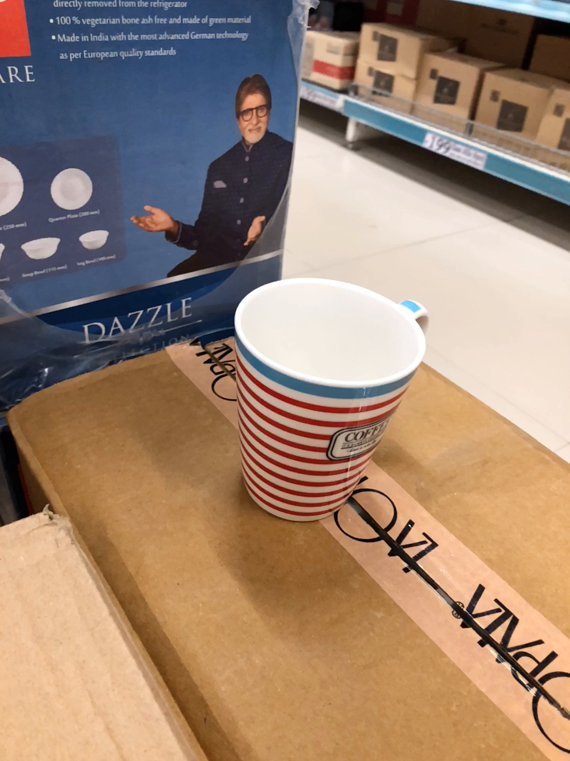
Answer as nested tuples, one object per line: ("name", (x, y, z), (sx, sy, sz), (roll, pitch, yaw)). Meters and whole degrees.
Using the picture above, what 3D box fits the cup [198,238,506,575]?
("cup", (0.029, 0.005, 0.312), (0.090, 0.099, 0.111), (30, 43, 31))
